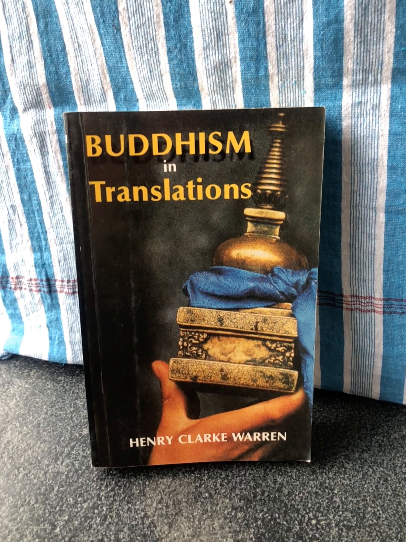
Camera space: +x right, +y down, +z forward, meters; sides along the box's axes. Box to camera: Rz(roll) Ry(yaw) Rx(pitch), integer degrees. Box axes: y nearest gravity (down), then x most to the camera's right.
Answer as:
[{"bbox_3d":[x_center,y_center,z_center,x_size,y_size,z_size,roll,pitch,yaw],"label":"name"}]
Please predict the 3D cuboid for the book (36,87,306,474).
[{"bbox_3d":[-0.014,0.007,0.271,0.140,0.210,0.050,-2,6,0],"label":"book"}]
